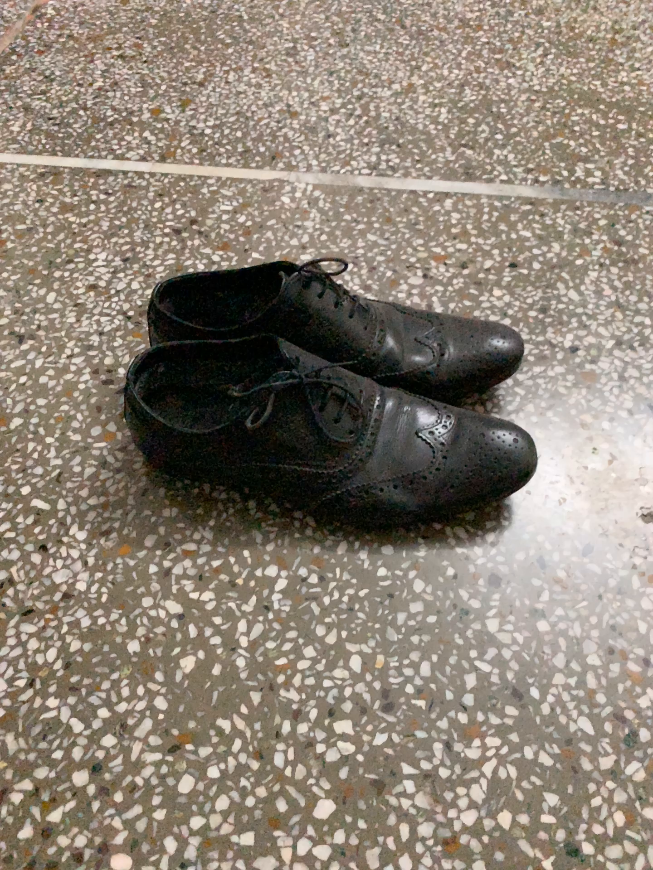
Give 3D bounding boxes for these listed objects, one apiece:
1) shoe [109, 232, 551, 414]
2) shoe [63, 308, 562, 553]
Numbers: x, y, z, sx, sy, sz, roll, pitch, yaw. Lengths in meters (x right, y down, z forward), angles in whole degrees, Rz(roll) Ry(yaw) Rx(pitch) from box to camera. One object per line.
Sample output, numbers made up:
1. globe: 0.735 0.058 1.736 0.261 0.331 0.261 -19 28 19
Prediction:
1. shoe: 0.003 -0.092 0.554 0.320 0.100 0.100 1 55 1
2. shoe: -0.007 -0.004 0.492 0.320 0.100 0.100 8 55 6
